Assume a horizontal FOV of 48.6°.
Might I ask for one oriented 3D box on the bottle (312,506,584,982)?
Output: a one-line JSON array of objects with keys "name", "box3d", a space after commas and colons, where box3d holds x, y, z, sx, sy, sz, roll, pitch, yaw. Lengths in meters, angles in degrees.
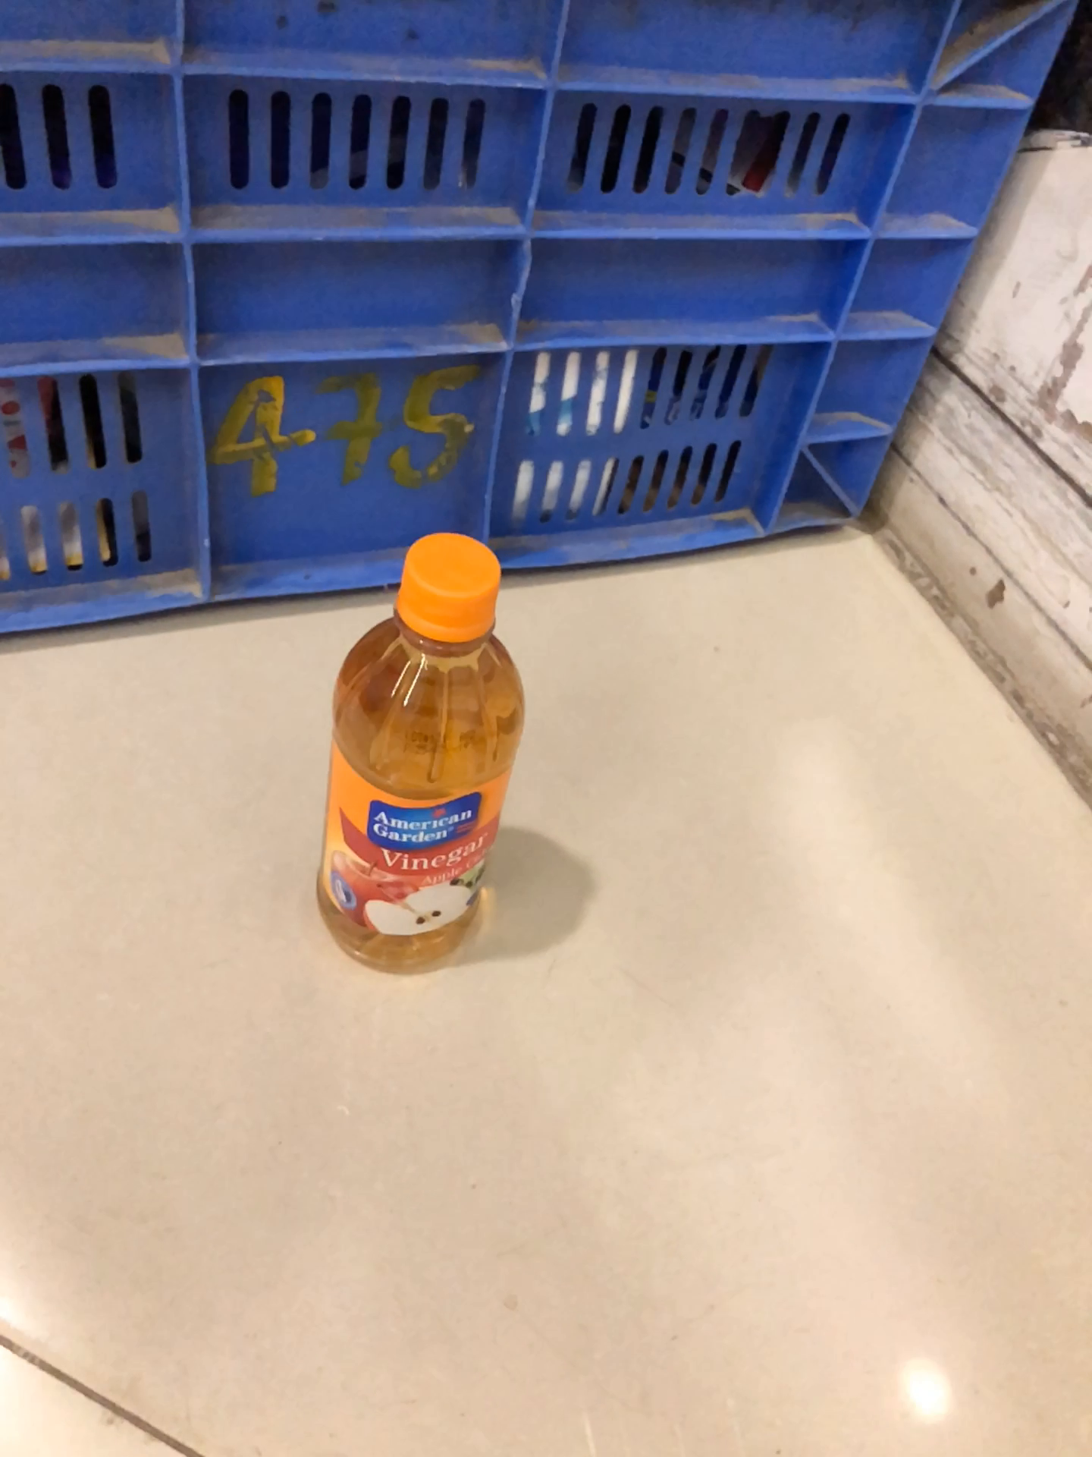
[{"name": "bottle", "box3d": [-0.043, 0.011, 0.429, 0.070, 0.169, 0.070, 6, 46, -7]}]
